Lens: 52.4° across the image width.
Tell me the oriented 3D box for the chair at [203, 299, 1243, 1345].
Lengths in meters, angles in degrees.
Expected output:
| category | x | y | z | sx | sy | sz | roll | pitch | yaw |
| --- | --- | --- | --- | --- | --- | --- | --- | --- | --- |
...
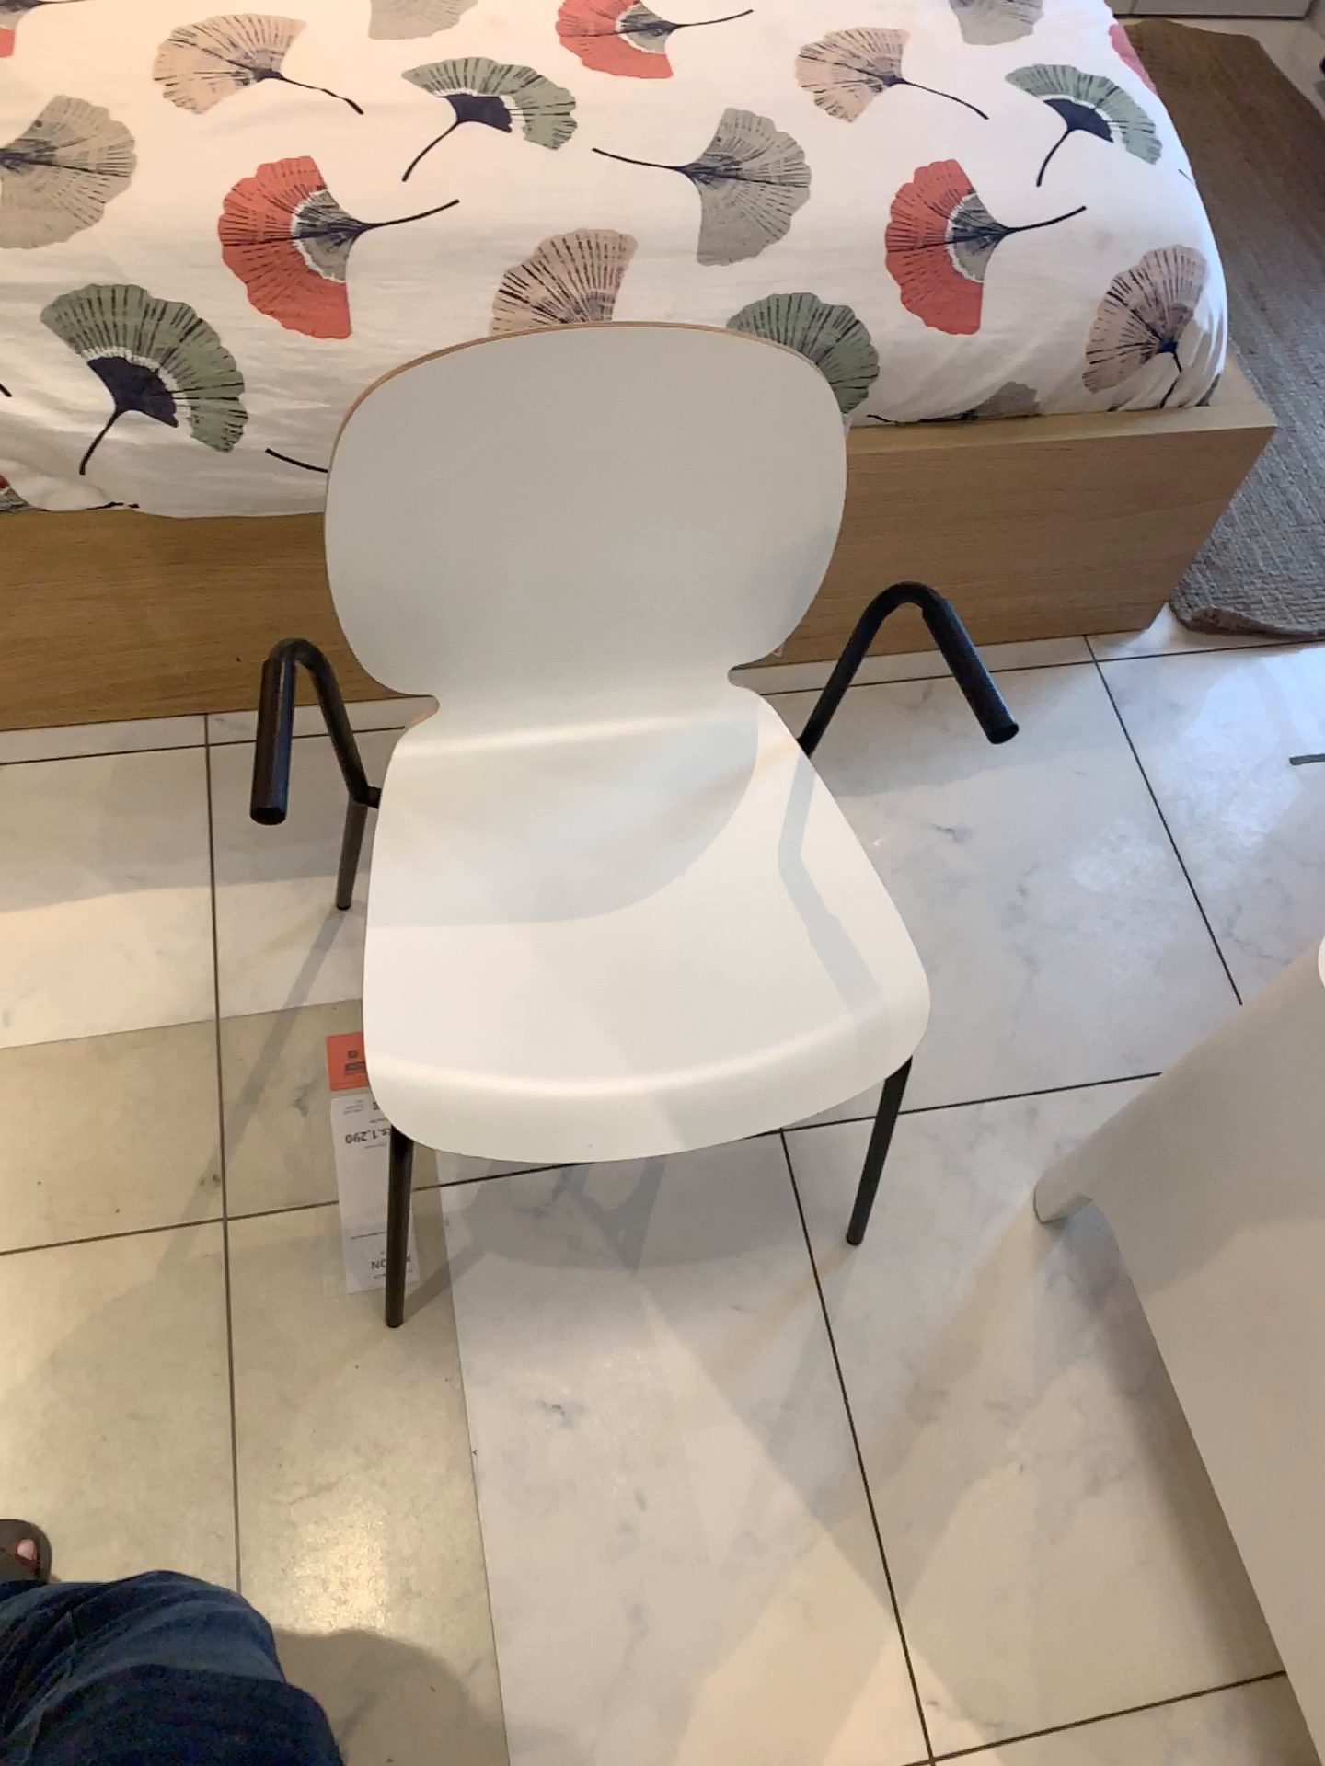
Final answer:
| category | x | y | z | sx | sy | sz | roll | pitch | yaw |
| --- | --- | --- | --- | --- | --- | --- | --- | --- | --- |
| chair | -0.028 | -0.003 | 1.141 | 0.550 | 0.699 | 0.541 | -7 | 62 | -11 |
